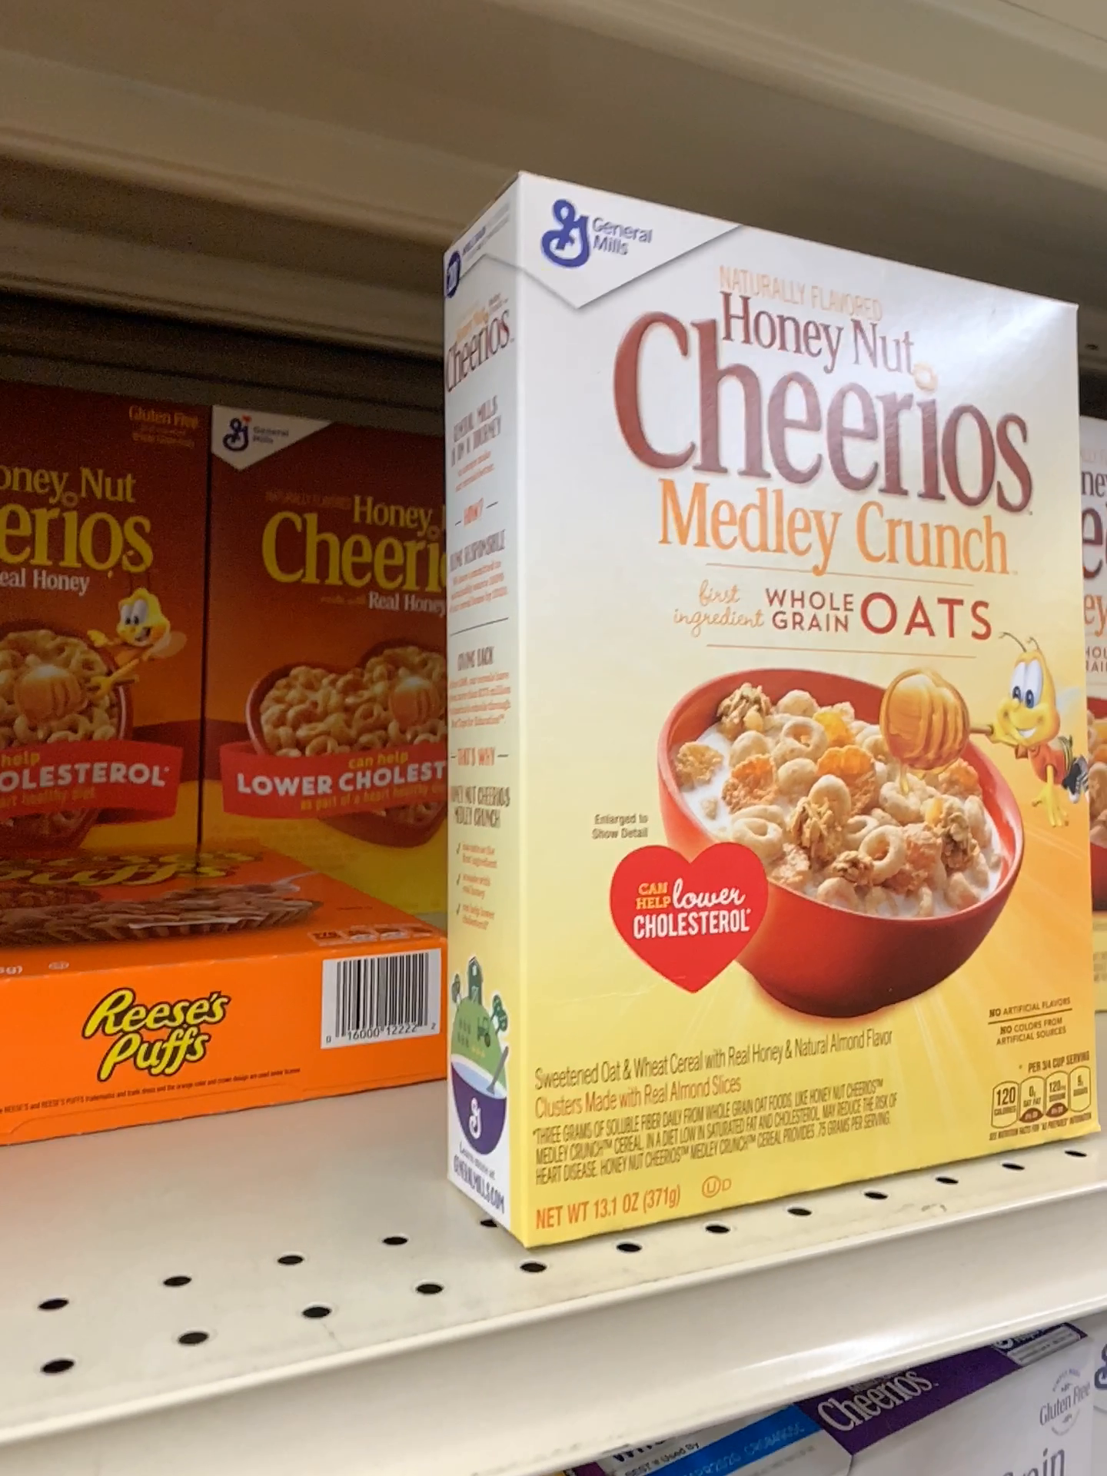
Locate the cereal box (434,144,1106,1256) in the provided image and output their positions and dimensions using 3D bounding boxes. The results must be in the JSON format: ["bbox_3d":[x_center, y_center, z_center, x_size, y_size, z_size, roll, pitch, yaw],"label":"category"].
[{"bbox_3d":[0.067,-0.010,0.324,0.190,0.250,0.060,0,-3,-25],"label":"cereal box"}]
